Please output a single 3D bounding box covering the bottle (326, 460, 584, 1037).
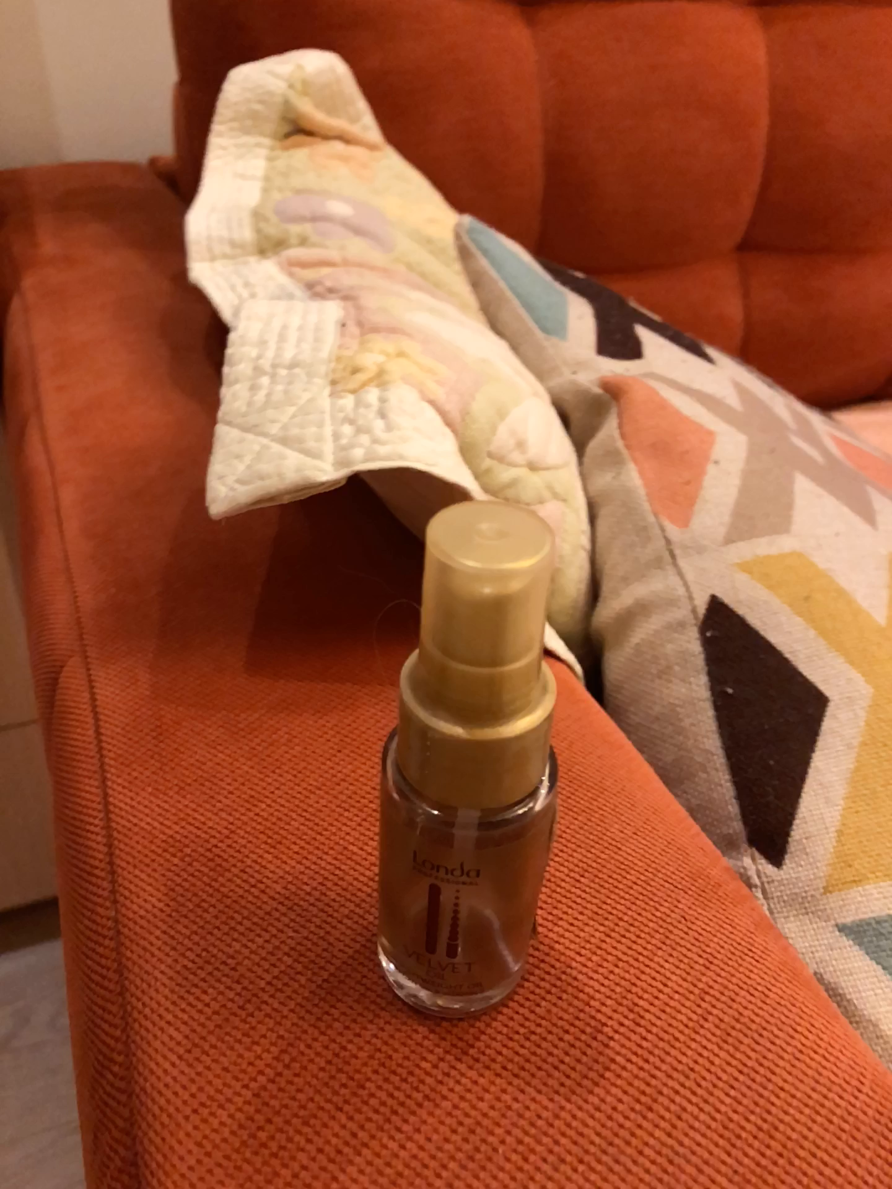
[{"bbox_3d":[0.002,0.032,0.188,0.034,0.106,0.033,1,32,0],"label":"bottle"}]
